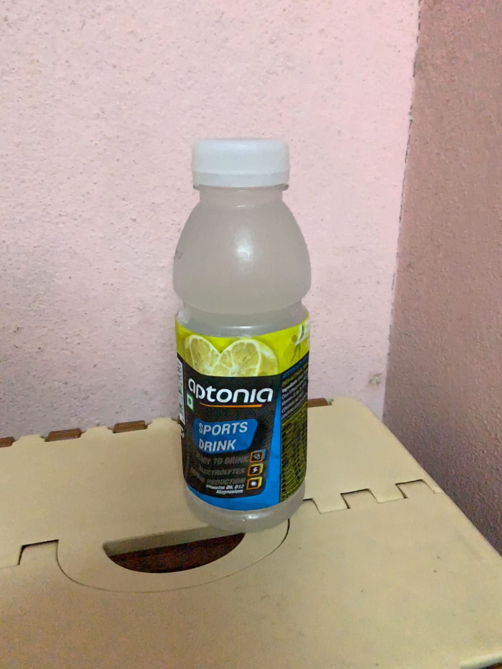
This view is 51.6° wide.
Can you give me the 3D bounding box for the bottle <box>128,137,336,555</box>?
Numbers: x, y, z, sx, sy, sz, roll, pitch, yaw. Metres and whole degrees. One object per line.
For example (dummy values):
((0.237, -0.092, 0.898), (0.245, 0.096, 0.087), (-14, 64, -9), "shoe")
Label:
((-0.003, 0.004, 0.242), (0.070, 0.179, 0.060), (5, 22, 14), "bottle")
